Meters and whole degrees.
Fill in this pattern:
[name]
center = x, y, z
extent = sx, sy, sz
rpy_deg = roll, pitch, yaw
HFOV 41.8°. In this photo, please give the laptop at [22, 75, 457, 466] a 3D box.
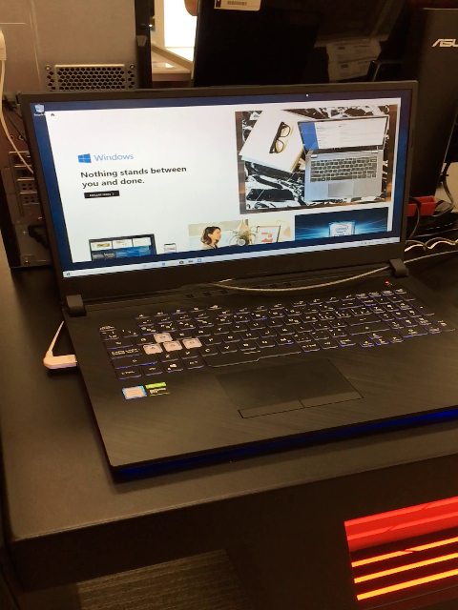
[laptop]
center = 0.055, -0.066, 0.588
extent = 0.423, 0.232, 0.319
rpy_deg = -9, 35, -14
